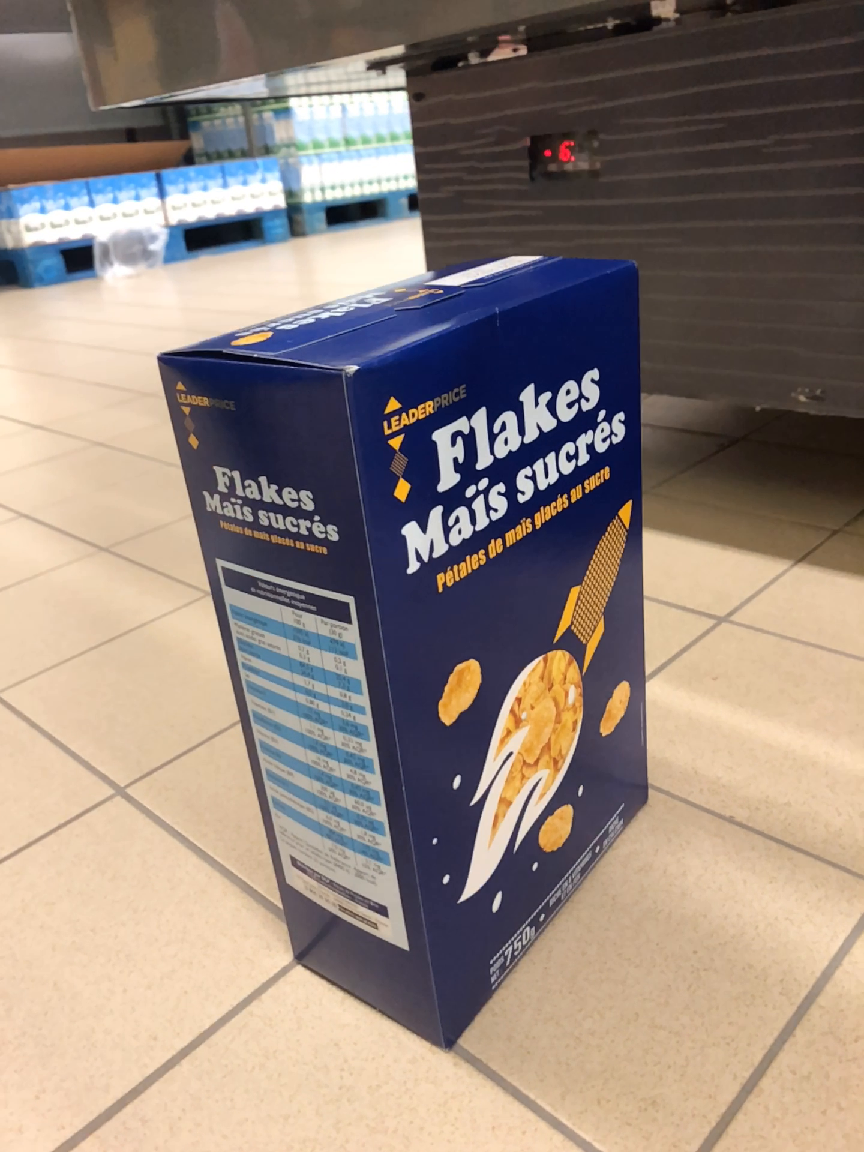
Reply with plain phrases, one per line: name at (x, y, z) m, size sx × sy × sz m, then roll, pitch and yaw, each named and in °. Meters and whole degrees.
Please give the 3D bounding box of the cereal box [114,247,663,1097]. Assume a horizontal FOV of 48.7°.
cereal box at (0.009, 0.027, 0.438) m, size 0.100 × 0.308 × 0.211 m, roll 13°, pitch 30°, yaw 38°
